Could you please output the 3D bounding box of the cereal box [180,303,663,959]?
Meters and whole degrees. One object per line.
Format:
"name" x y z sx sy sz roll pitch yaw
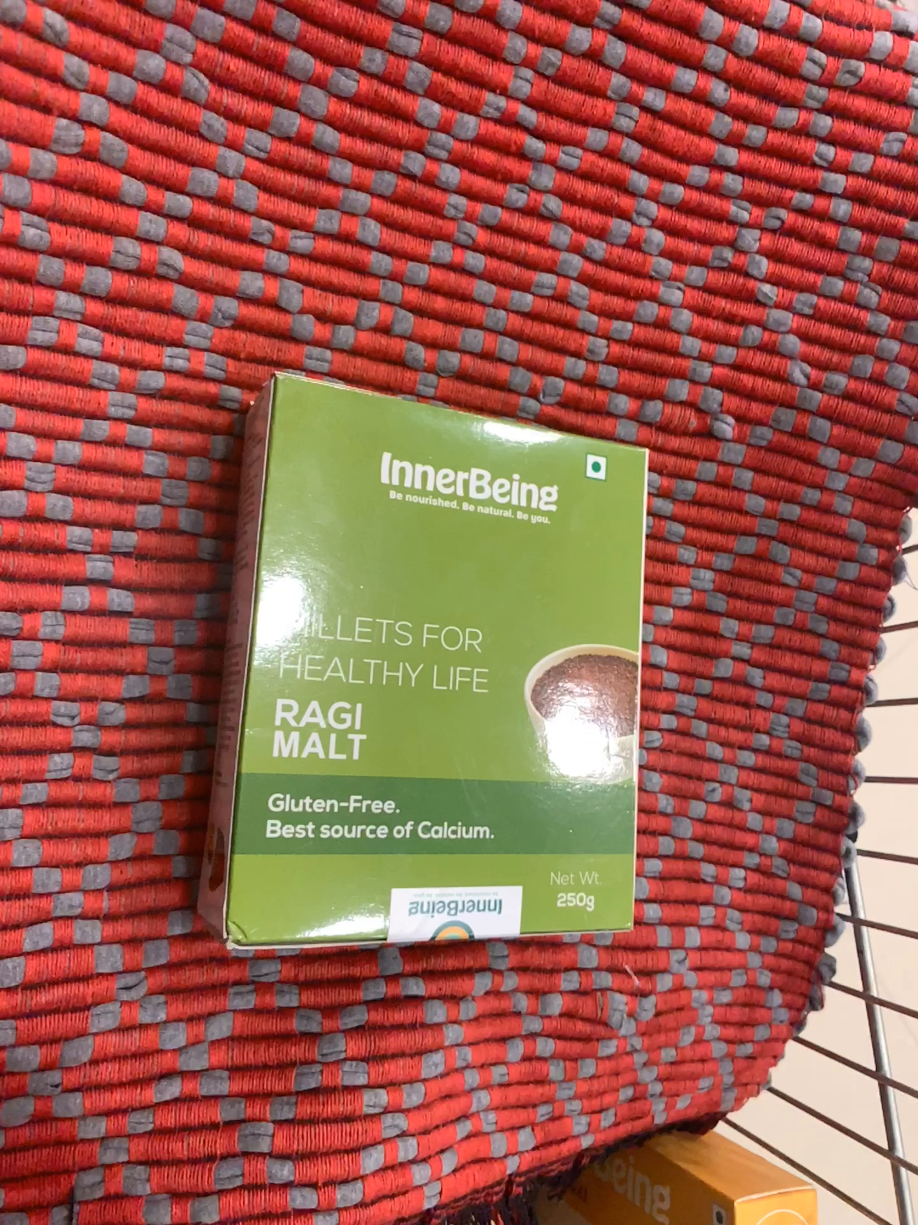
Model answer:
"cereal box" -0.008 0.010 0.293 0.130 0.050 0.170 7 81 -24
